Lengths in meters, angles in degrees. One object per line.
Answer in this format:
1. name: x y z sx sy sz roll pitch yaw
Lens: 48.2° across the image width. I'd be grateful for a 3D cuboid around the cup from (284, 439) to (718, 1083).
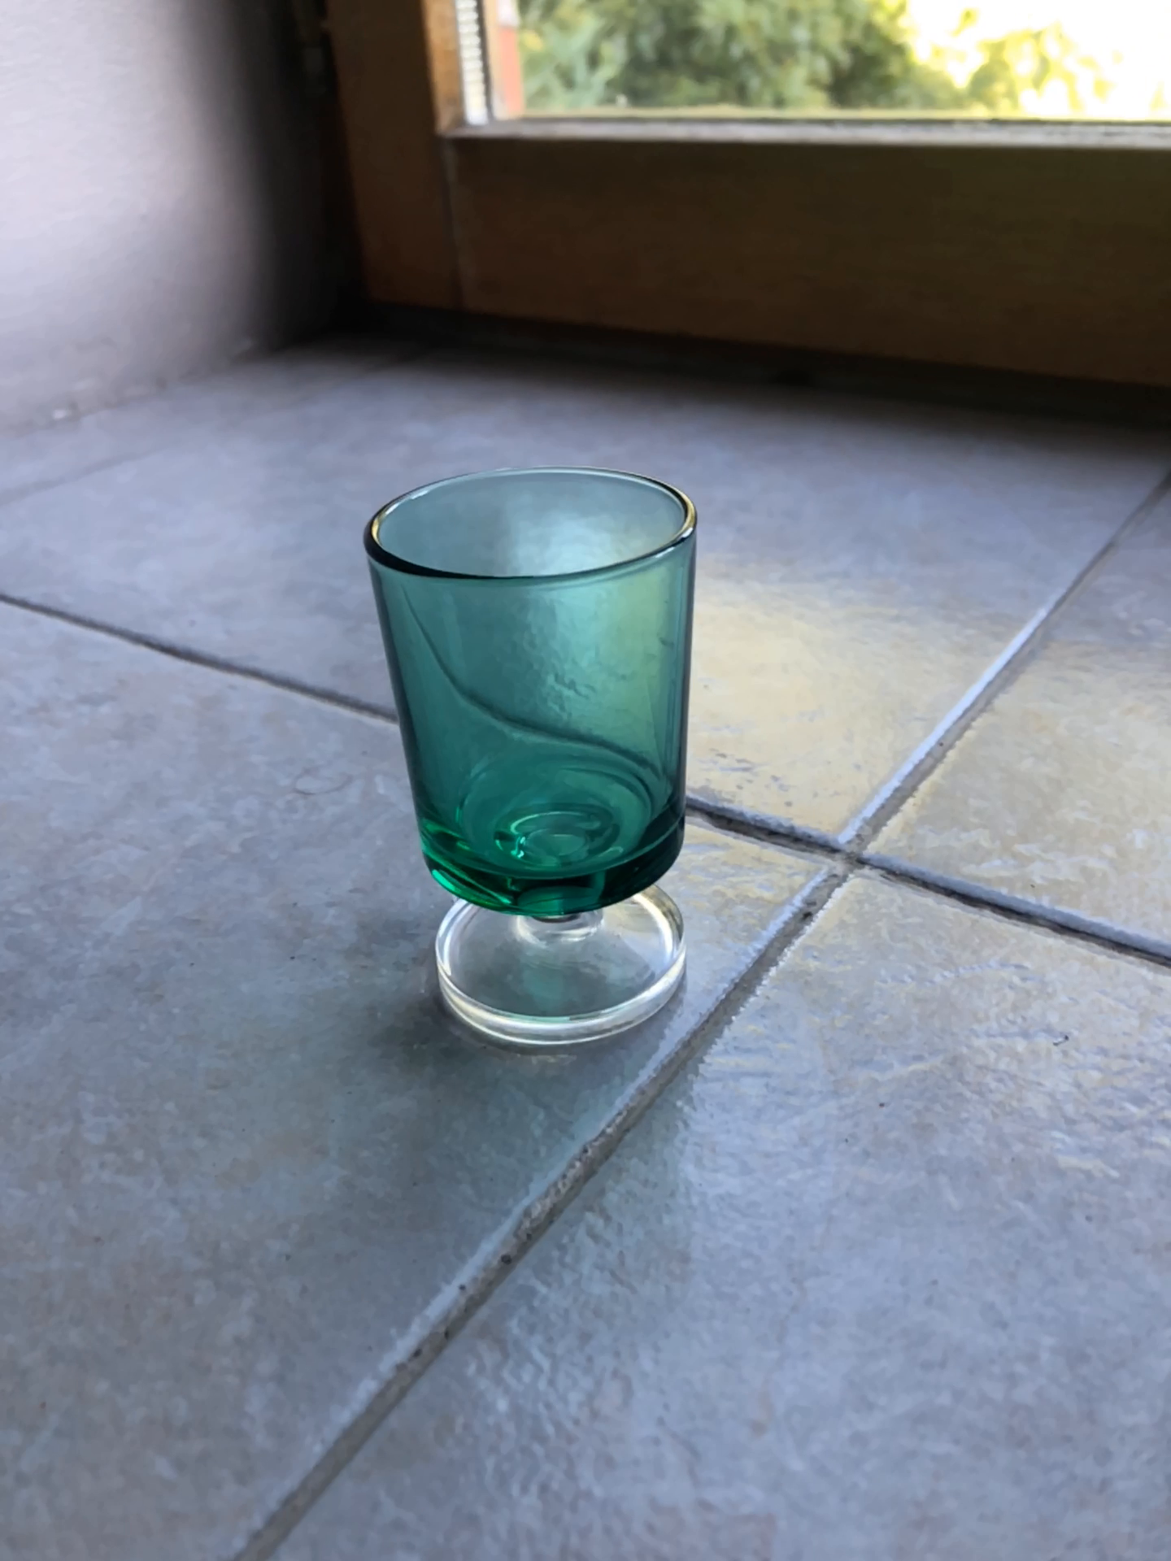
1. cup: -0.009 -0.003 0.173 0.045 0.068 0.044 -3 32 2
